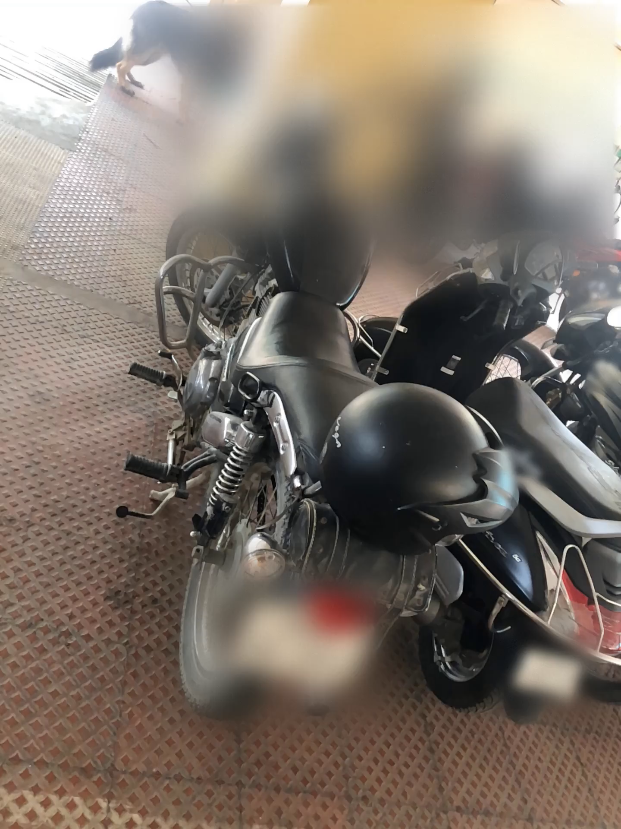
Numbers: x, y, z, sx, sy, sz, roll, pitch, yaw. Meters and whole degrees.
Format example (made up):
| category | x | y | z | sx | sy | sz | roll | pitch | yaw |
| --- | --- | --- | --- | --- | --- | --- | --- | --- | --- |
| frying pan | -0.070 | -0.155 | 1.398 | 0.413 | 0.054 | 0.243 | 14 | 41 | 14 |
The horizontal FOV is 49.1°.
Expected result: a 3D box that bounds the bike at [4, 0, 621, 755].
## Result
| category | x | y | z | sx | sy | sz | roll | pitch | yaw |
| --- | --- | --- | --- | --- | --- | --- | --- | --- | --- |
| bike | -0.180 | -0.342 | 1.820 | 0.783 | 1.178 | 1.817 | 15 | 39 | -29 |
